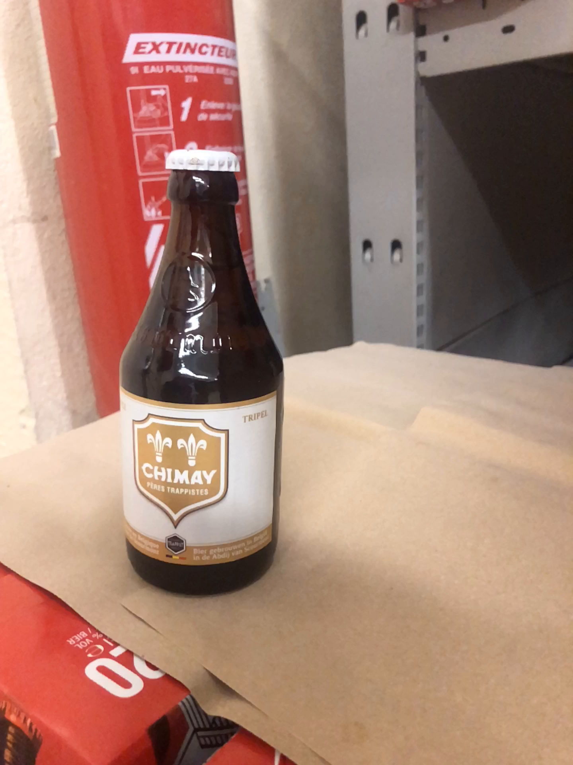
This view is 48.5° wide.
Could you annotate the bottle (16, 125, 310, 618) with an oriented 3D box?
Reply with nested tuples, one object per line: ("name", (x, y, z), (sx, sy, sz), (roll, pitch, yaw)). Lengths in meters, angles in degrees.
("bottle", (-0.040, -0.008, 0.255), (0.080, 0.169, 0.070), (6, 18, 19))
